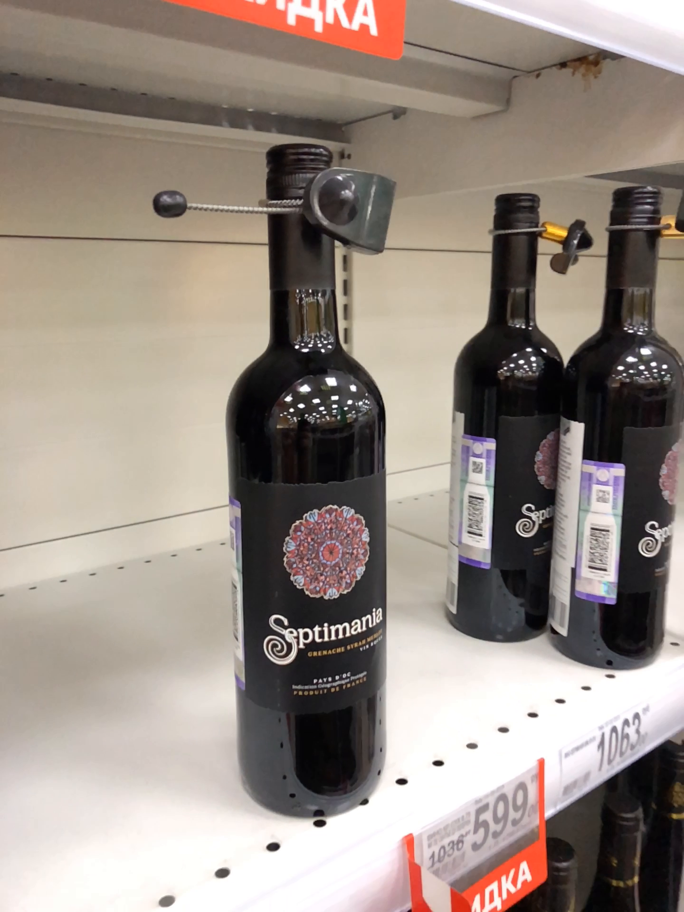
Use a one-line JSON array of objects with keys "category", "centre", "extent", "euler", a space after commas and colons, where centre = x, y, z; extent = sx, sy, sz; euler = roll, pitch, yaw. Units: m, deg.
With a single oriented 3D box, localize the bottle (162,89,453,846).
[{"category": "bottle", "centre": [-0.016, 0.006, 0.344], "extent": [0.090, 0.291, 0.090], "euler": [0, 12, 0]}]
